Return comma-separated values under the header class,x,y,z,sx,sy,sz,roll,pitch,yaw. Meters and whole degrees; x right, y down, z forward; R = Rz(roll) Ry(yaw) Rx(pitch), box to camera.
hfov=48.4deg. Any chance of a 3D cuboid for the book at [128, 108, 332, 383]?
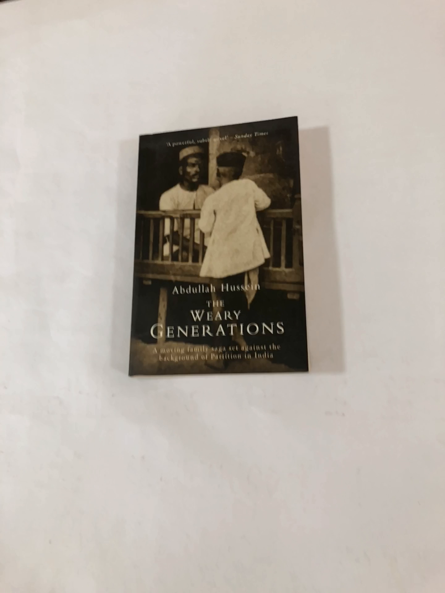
class,x,y,z,sx,sy,sz,roll,pitch,yaw
book,0.004,-0.039,0.376,0.140,0.030,0.200,-4,74,11
